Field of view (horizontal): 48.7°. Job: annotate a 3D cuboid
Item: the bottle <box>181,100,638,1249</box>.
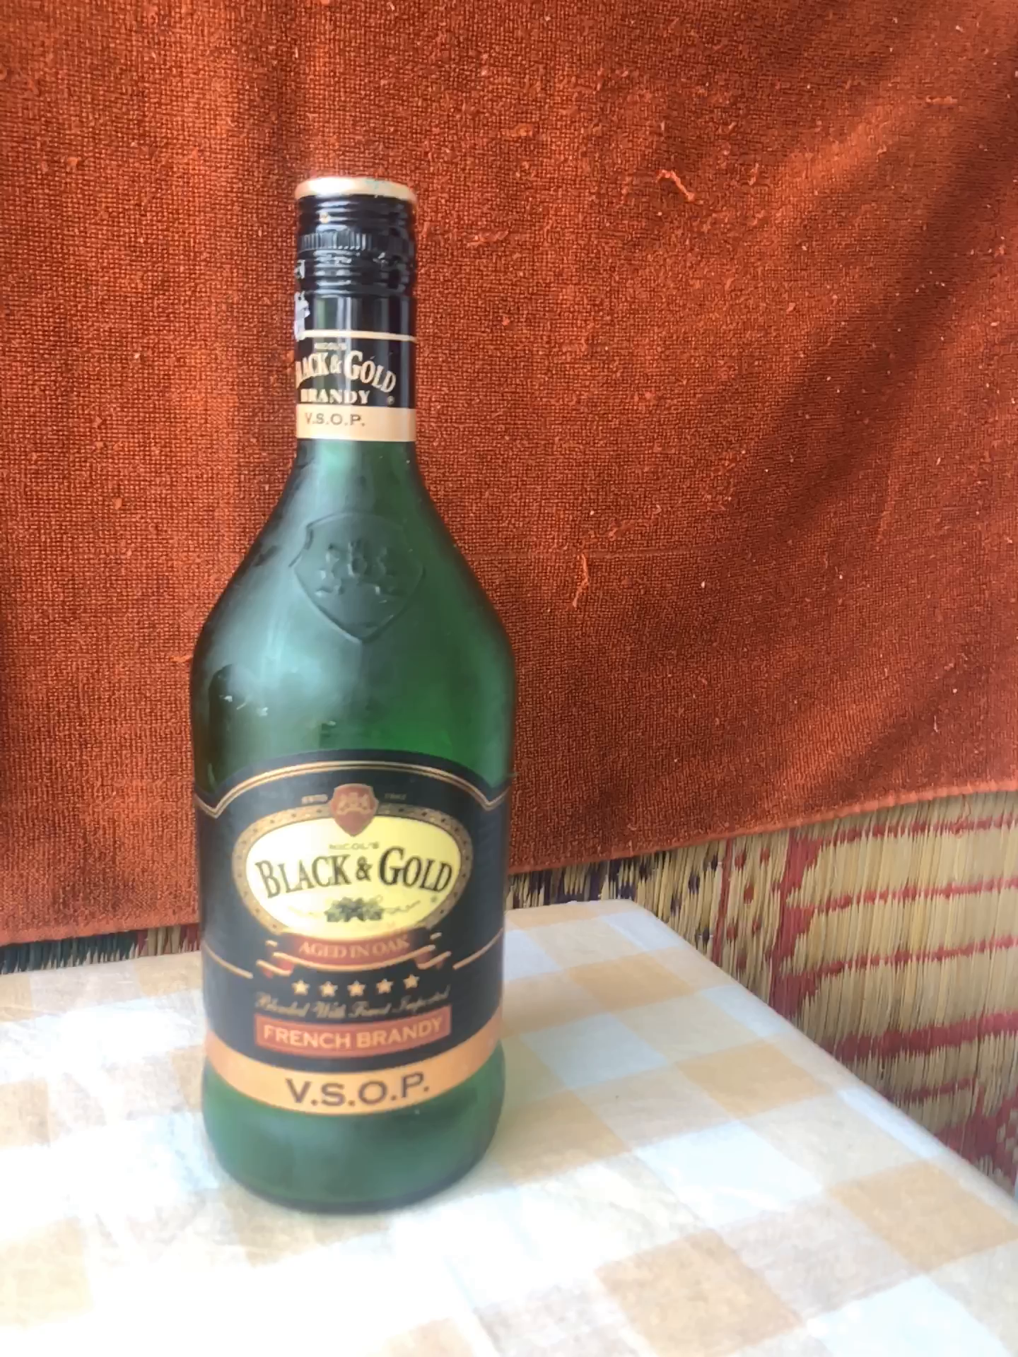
[{"bbox_3d":[-0.033,0.005,0.293,0.090,0.259,0.080,2,13,-9],"label":"bottle"}]
